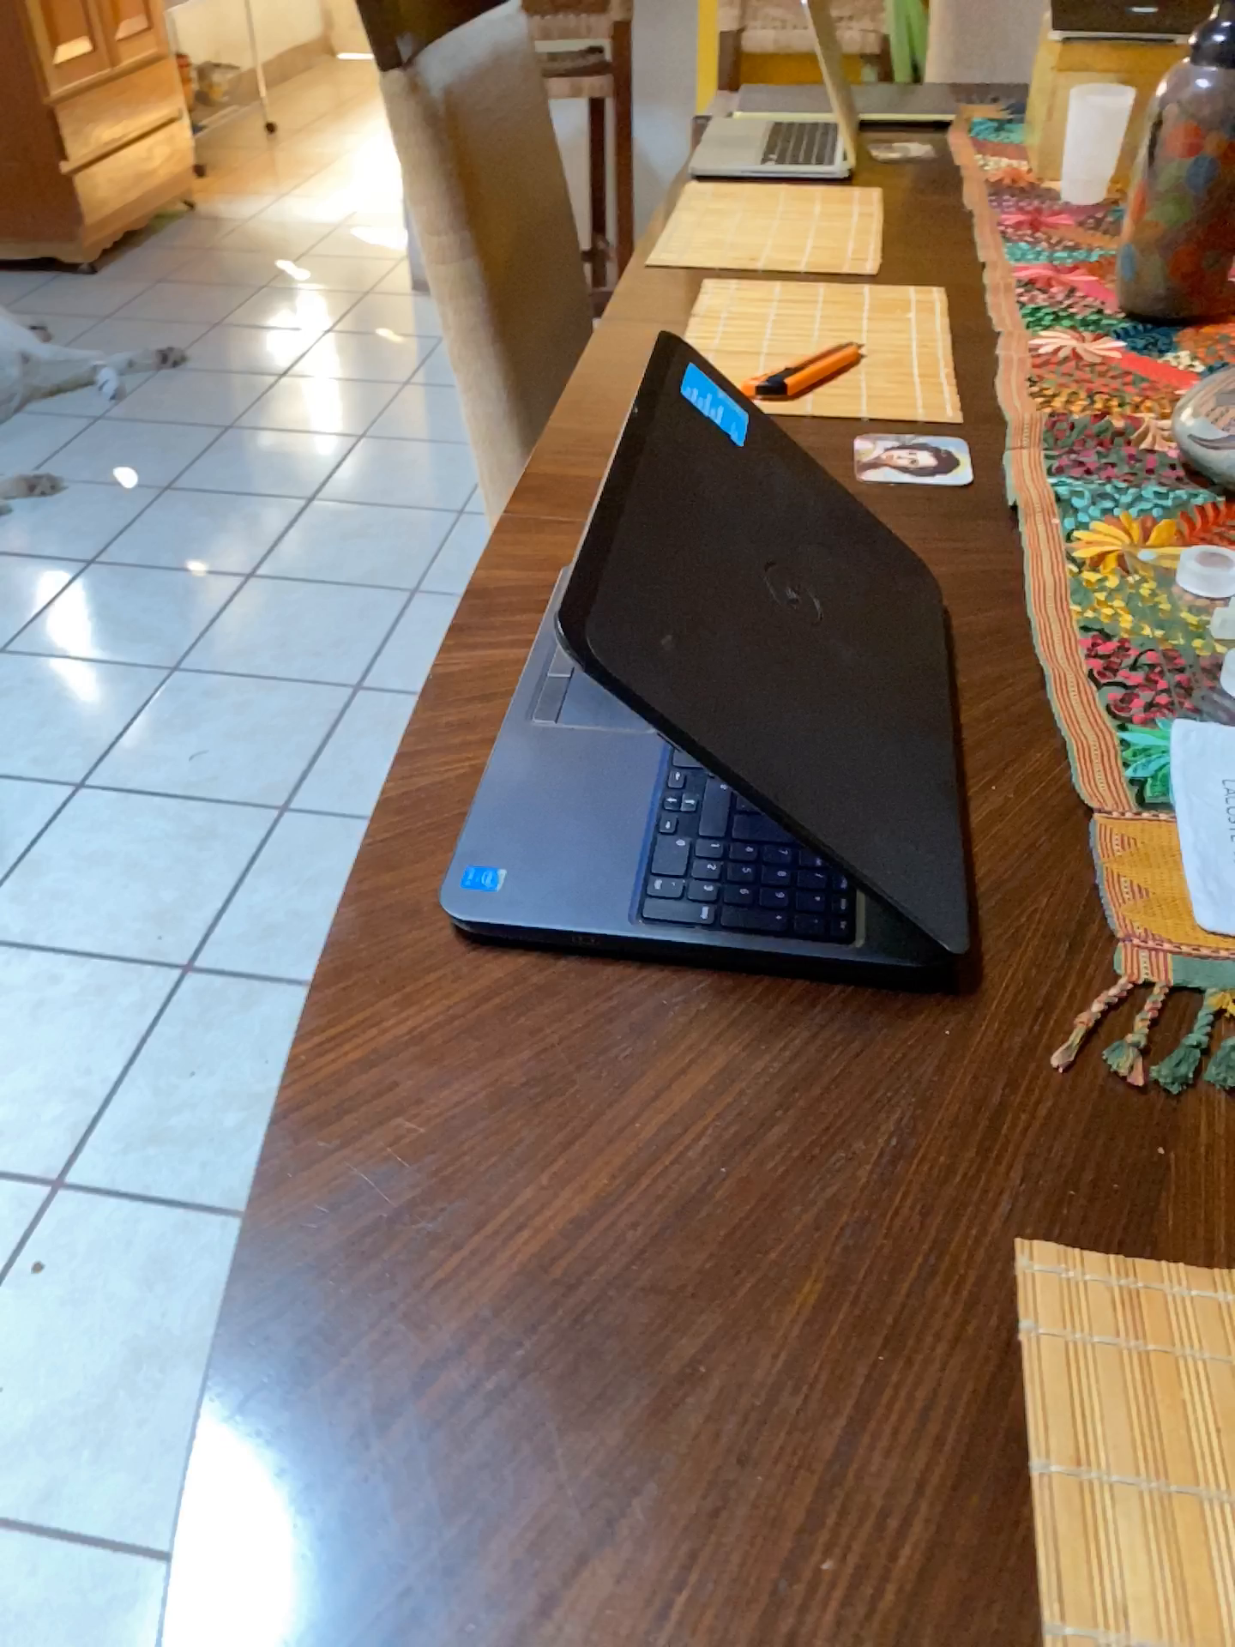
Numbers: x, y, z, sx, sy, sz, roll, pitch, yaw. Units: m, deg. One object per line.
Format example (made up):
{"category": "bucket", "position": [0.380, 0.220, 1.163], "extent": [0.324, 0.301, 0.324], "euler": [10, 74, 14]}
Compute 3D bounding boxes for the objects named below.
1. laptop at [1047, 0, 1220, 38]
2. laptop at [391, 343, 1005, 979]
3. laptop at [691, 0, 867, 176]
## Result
{"category": "laptop", "position": [0.678, -1.077, 1.676], "extent": [0.201, 0.001, 0.294], "euler": [8, 42, 8]}
{"category": "laptop", "position": [0.054, -0.115, 0.693], "extent": [0.248, 0.158, 0.358], "euler": [6, 40, 7]}
{"category": "laptop", "position": [0.240, -1.108, 1.848], "extent": [0.221, 0.207, 0.373], "euler": [4, 40, 6]}
